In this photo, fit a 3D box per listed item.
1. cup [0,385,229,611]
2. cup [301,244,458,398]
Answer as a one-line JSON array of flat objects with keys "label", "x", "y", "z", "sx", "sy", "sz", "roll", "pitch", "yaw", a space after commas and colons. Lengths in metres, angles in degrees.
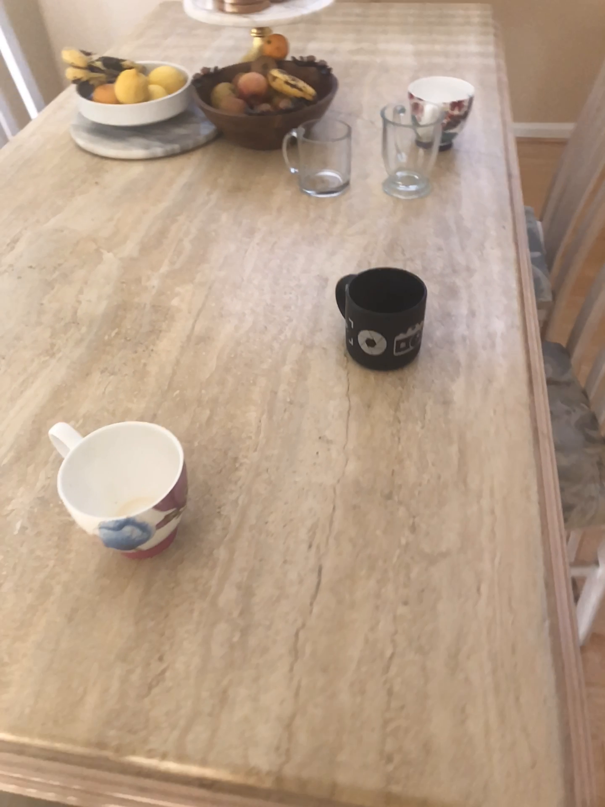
[{"label": "cup", "x": -0.168, "y": 0.079, "z": 0.595, "sx": 0.160, "sy": 0.089, "sz": 0.111, "roll": 26, "pitch": 52, "yaw": 26}, {"label": "cup", "x": 0.087, "y": -0.101, "z": 0.785, "sx": 0.101, "sy": 0.089, "sz": 0.151, "roll": -33, "pitch": 52, "yaw": -26}]
